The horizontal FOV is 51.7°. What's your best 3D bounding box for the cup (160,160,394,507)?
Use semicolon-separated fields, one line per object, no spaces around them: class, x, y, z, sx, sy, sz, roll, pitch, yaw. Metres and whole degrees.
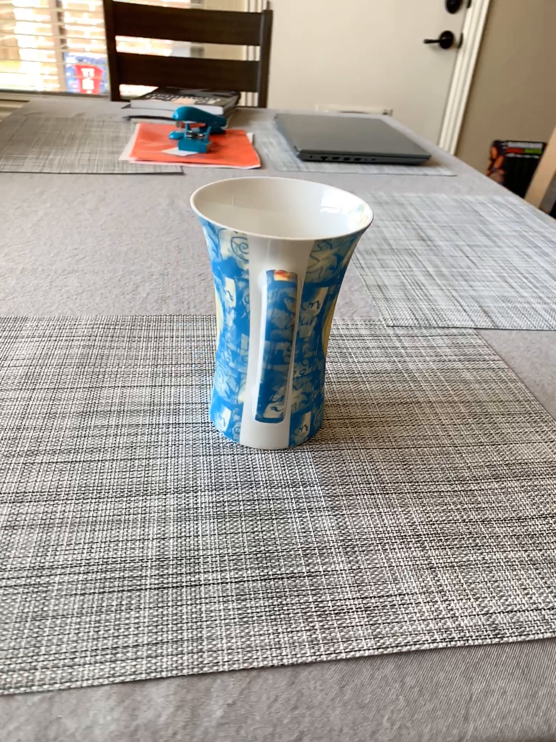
cup;-0.009;-0.029;0.347;0.099;0.148;0.153;2;33;-4
